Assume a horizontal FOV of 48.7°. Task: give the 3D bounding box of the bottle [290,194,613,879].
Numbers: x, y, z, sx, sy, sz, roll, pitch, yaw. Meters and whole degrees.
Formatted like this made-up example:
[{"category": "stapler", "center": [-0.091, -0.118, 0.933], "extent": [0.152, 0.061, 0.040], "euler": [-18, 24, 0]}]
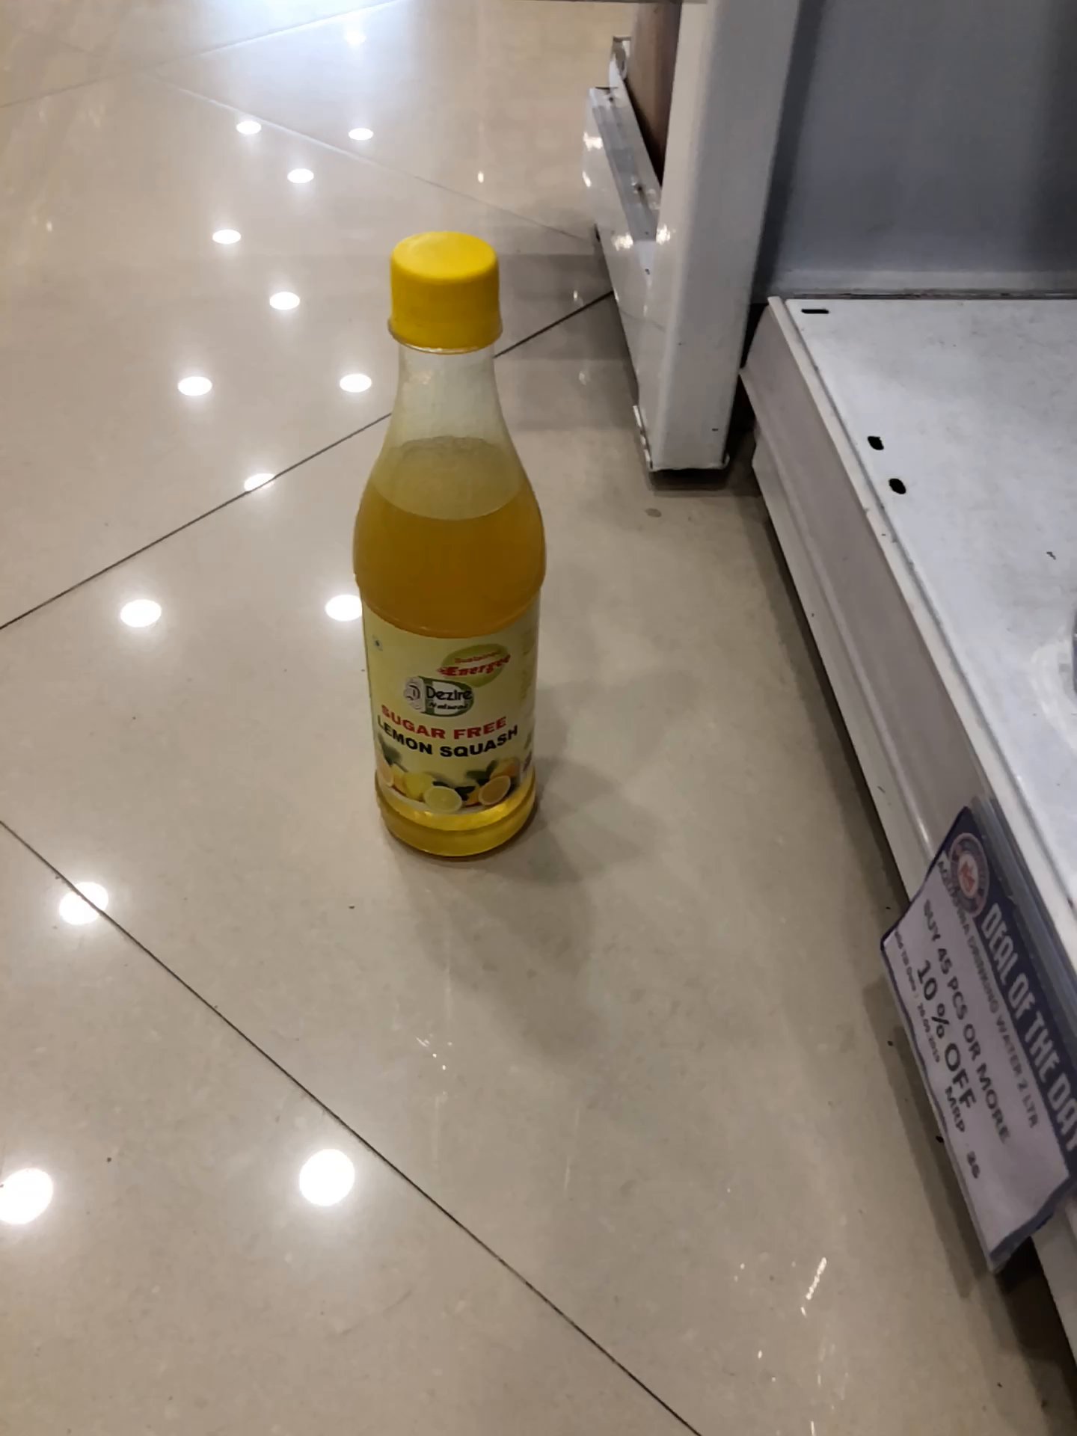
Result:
[{"category": "bottle", "center": [-0.024, -0.047, 0.408], "extent": [0.080, 0.228, 0.070], "euler": [5, 44, 2]}]
